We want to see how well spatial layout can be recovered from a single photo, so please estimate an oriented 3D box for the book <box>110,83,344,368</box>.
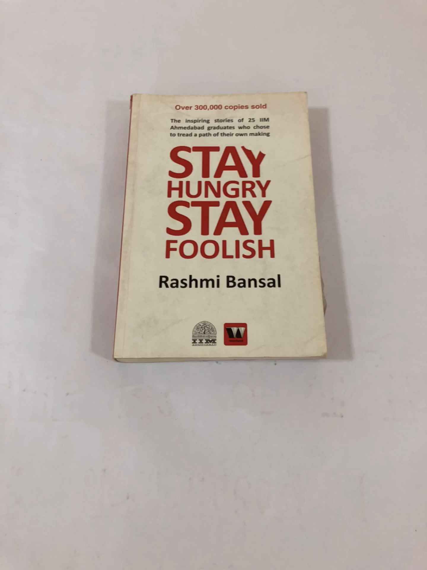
[{"bbox_3d":[0.008,-0.044,0.316,0.130,0.040,0.190,0,70,0],"label":"book"}]
